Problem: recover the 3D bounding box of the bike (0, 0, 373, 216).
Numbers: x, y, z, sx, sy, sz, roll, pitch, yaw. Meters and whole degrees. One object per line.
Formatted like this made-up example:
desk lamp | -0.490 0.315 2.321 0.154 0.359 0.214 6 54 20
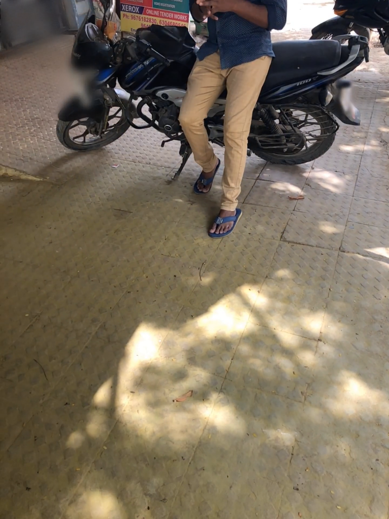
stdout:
bike | -0.070 -0.978 2.428 1.742 1.174 0.789 2 39 10
